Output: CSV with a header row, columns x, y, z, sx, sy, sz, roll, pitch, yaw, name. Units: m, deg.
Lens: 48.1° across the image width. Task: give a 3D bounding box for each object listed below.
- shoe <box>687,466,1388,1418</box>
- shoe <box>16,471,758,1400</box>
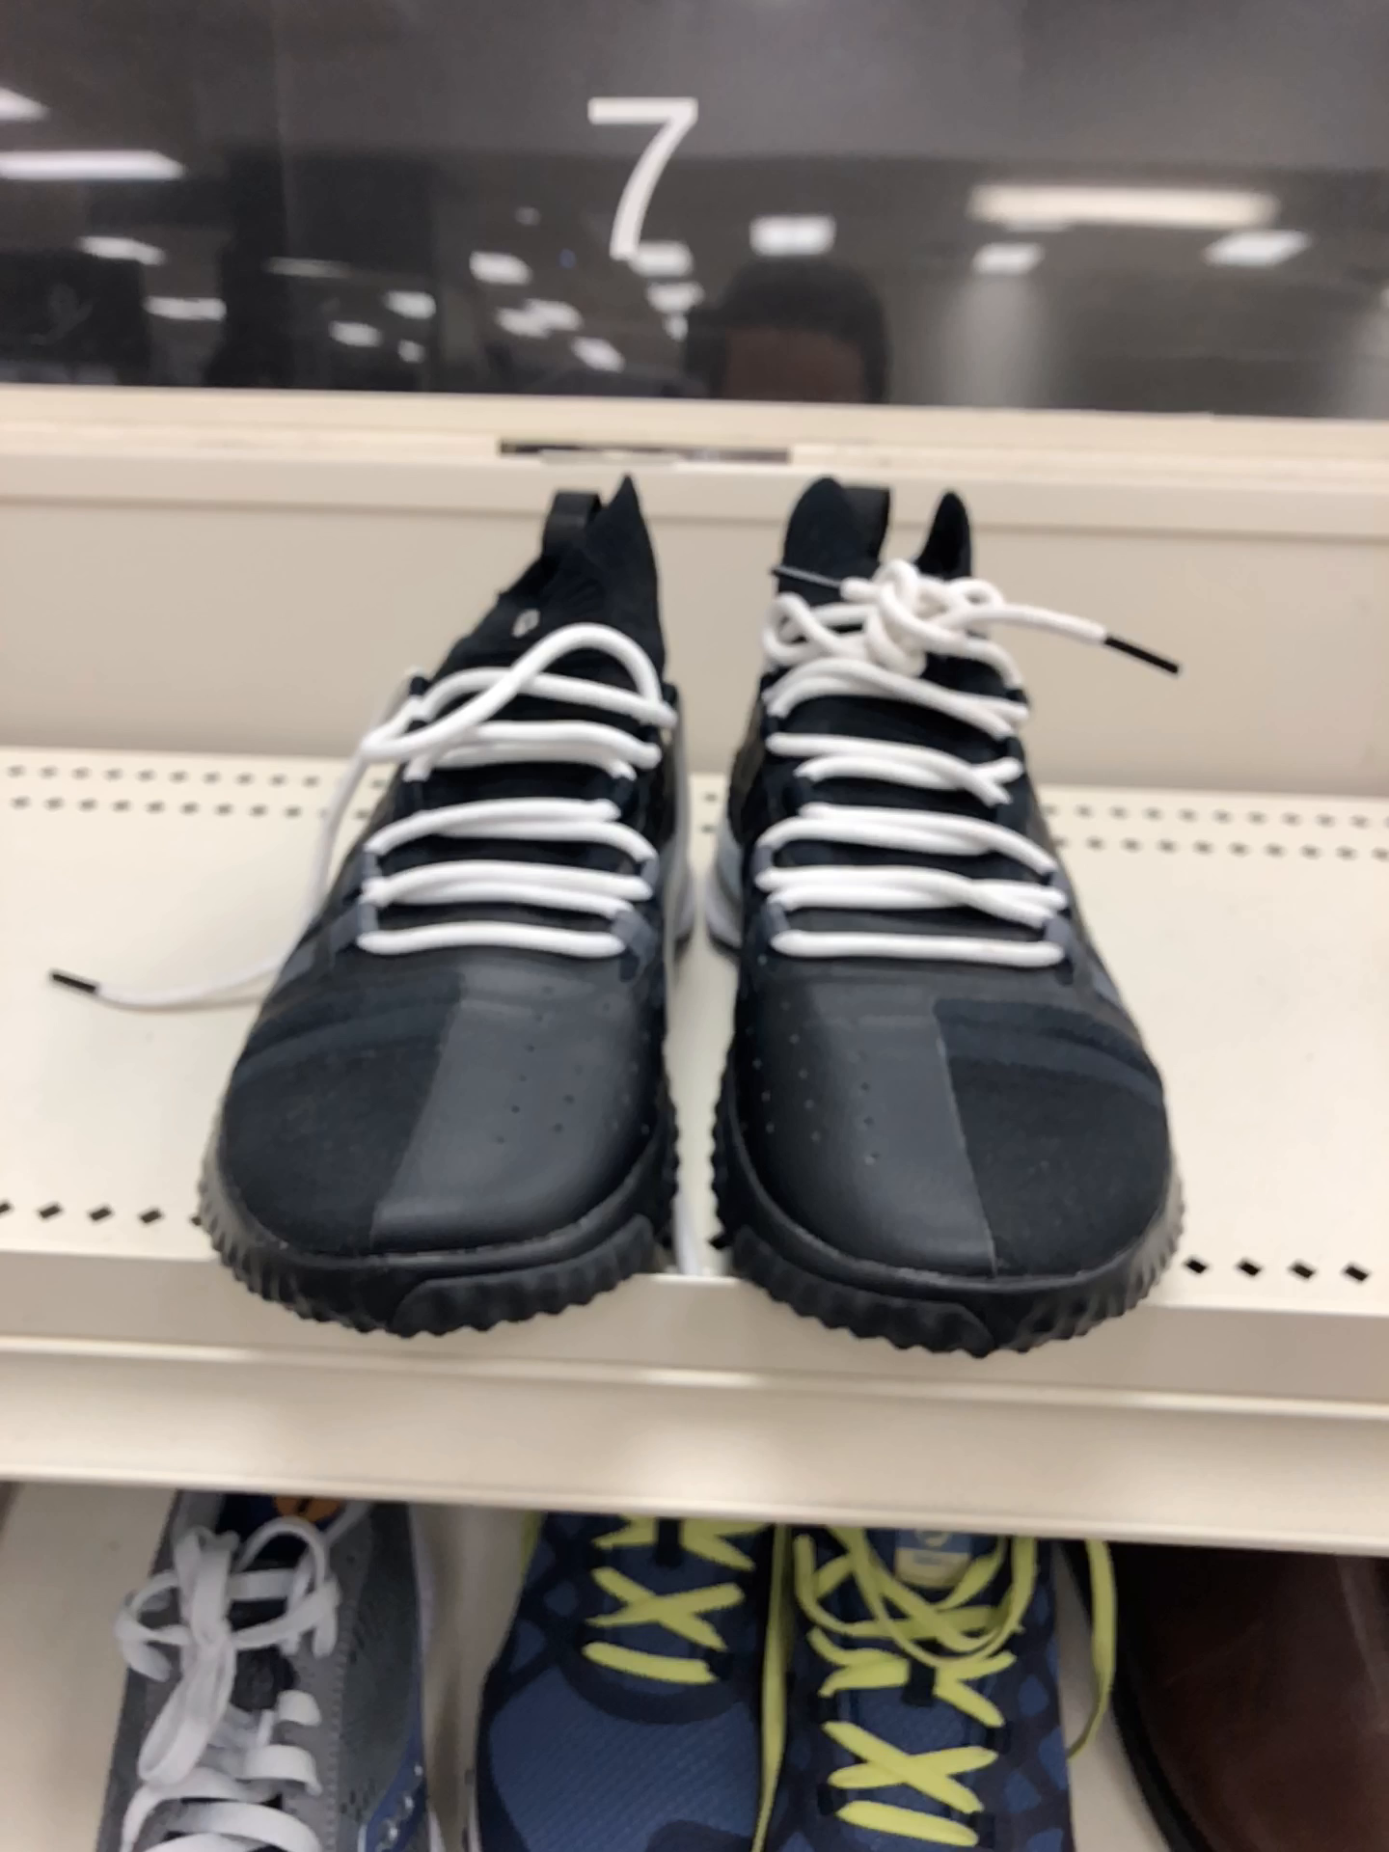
x,y,z,sx,sy,sz,roll,pitch,yaw,name
0.060,-0.037,0.437,0.120,0.136,0.352,1,23,-1,shoe
-0.047,-0.039,0.449,0.120,0.136,0.352,2,23,2,shoe
